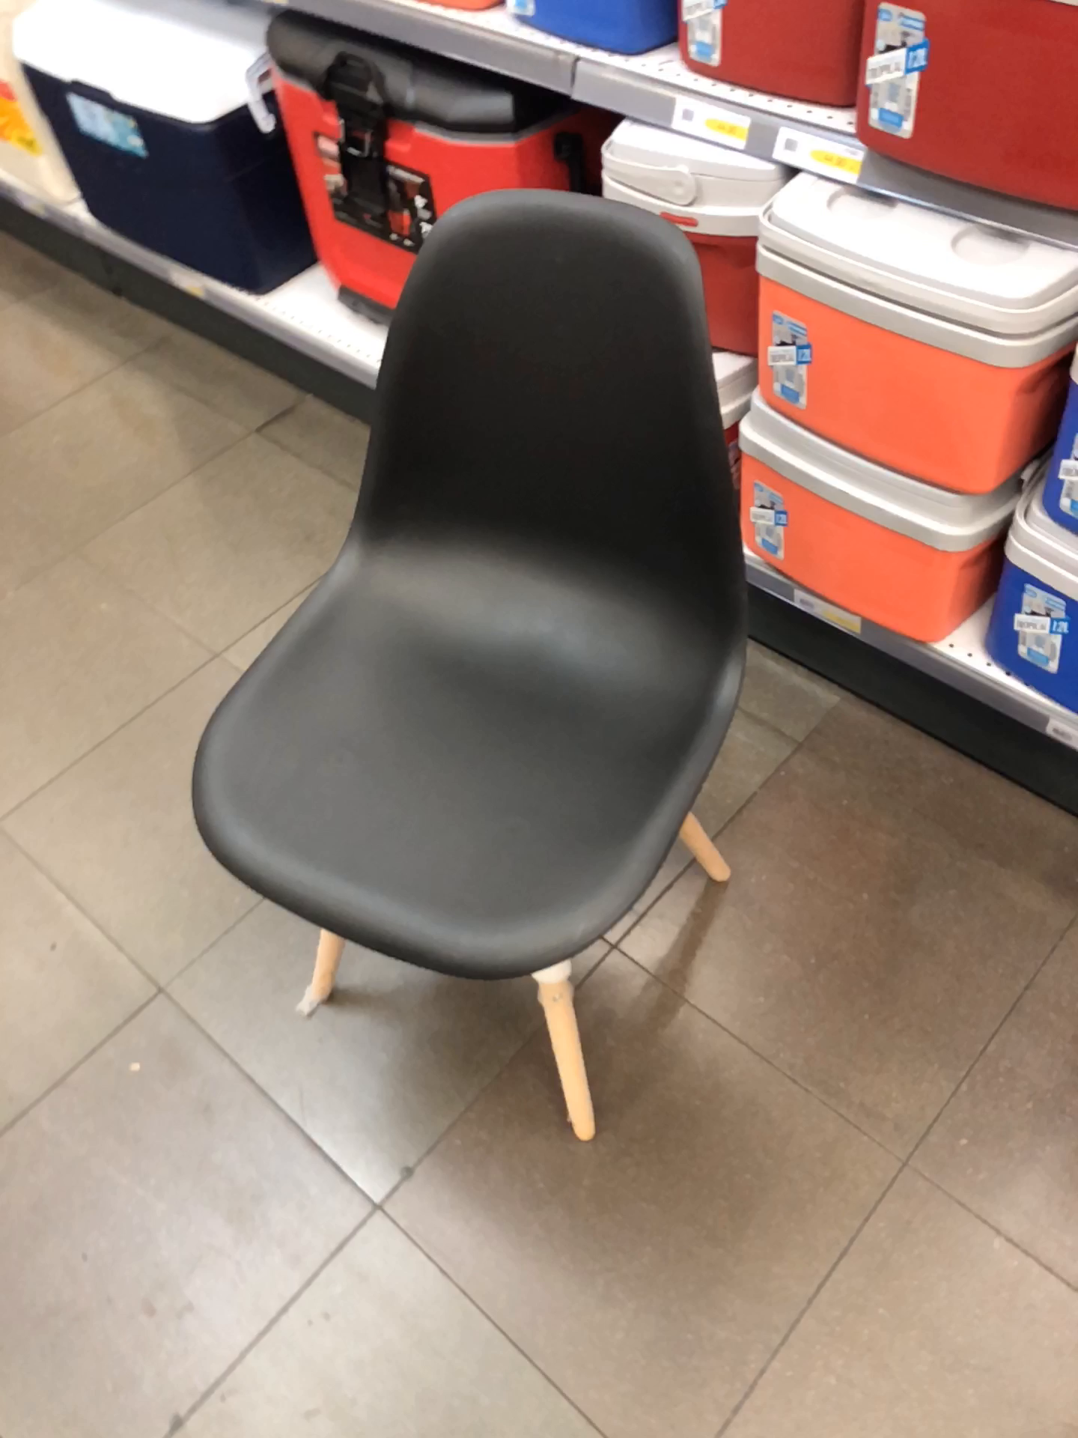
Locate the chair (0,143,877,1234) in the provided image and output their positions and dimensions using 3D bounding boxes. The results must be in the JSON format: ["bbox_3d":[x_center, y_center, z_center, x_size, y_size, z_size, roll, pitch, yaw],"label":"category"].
[{"bbox_3d":[-0.066,-0.013,1.091,0.501,0.726,0.552,21,56,23],"label":"chair"}]
